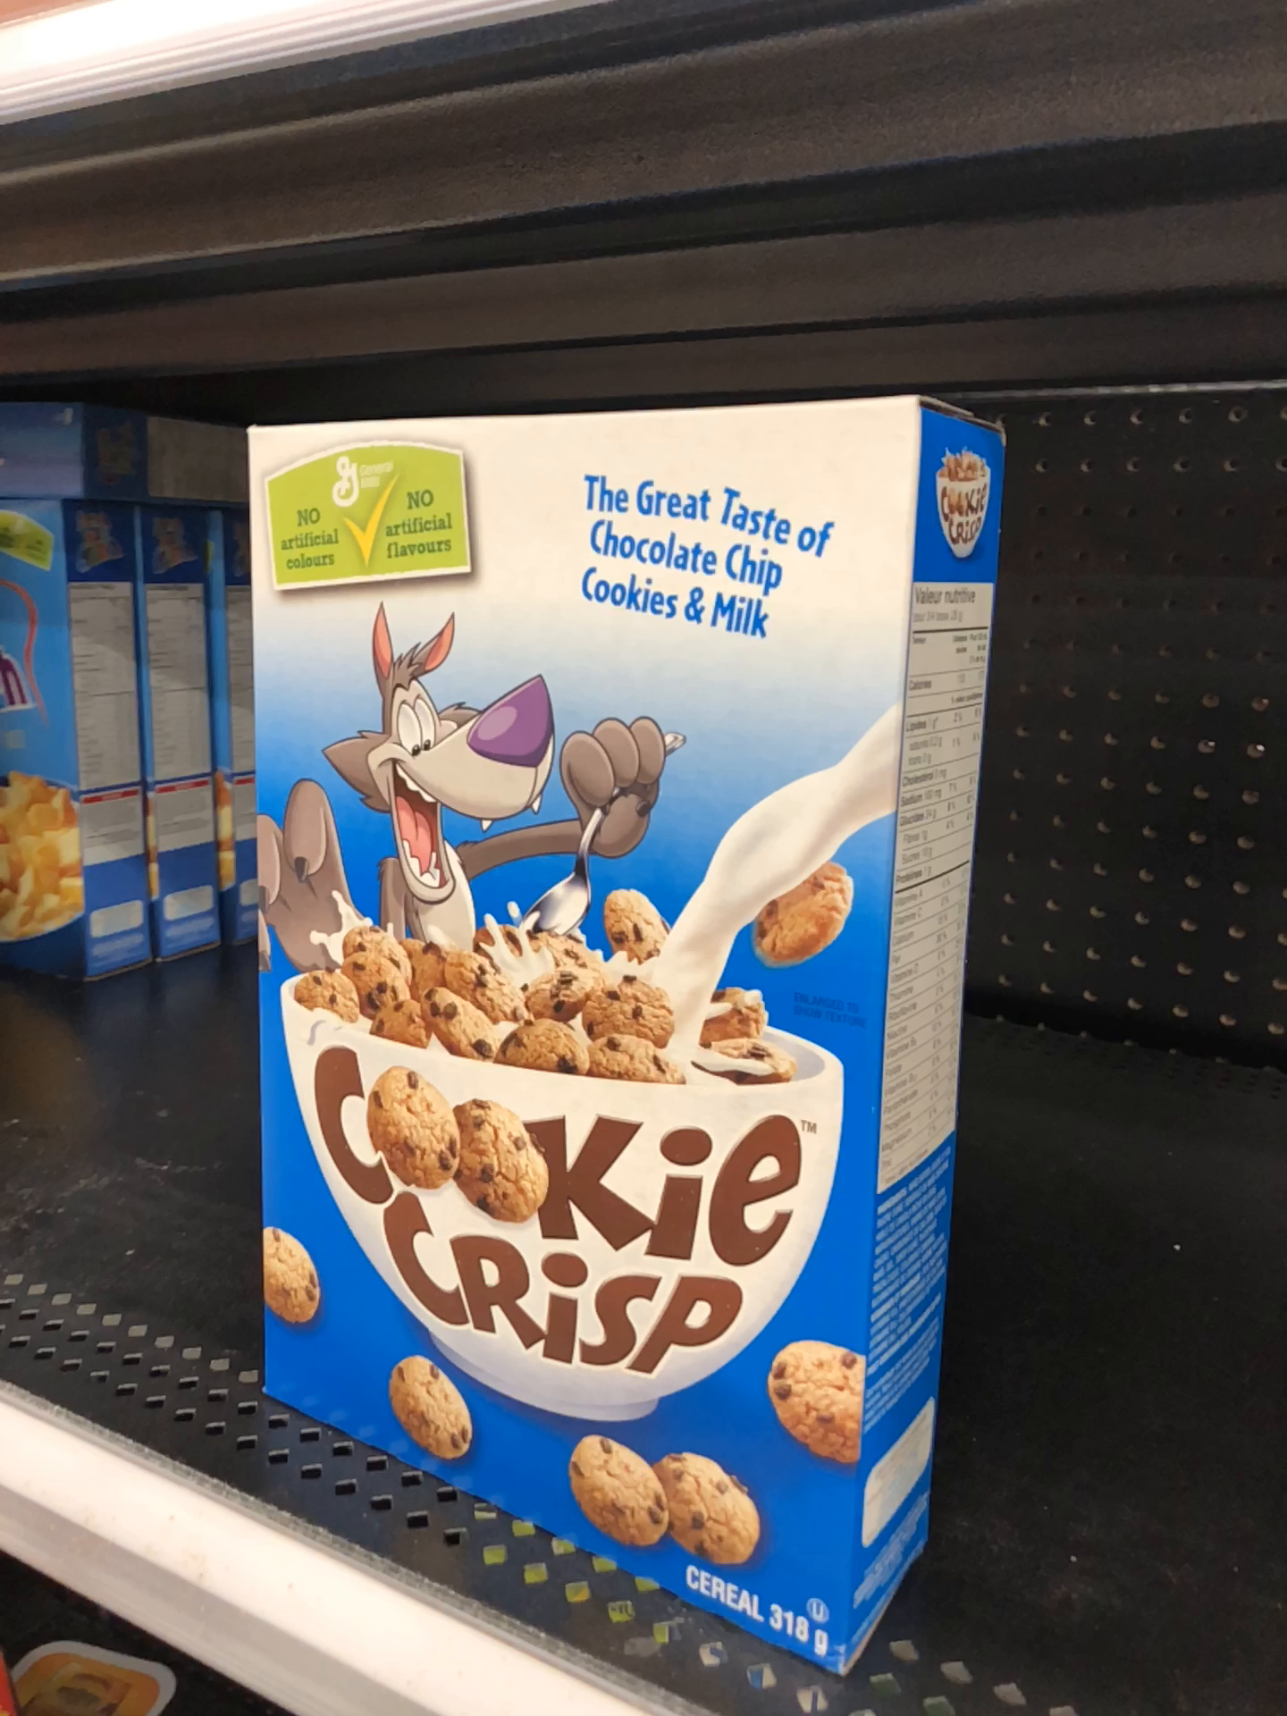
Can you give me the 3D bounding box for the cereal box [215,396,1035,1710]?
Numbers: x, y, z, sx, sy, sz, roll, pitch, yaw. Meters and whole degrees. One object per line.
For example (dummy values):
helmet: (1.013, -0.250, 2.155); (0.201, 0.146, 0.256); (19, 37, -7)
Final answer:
cereal box: (-0.016, 0.034, 0.368); (0.200, 0.279, 0.060); (8, 12, 33)
